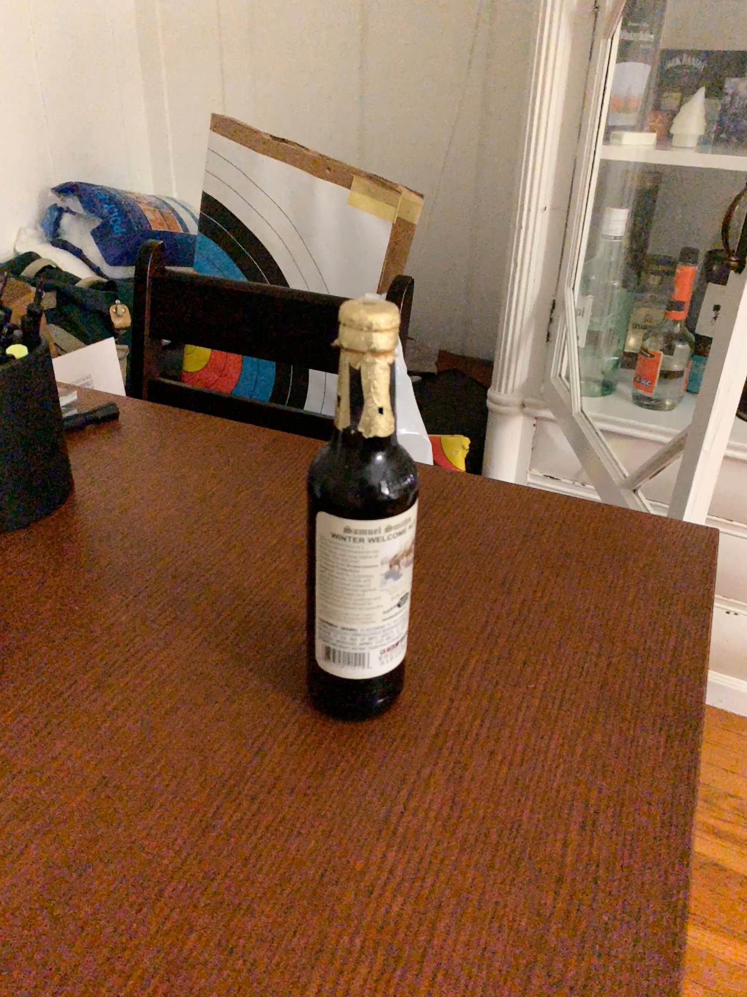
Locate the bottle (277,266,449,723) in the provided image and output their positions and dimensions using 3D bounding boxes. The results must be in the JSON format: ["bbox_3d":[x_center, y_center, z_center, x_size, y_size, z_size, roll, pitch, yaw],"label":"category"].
[{"bbox_3d":[-0.007,0.005,0.396,0.070,0.229,0.070,1,29,-1],"label":"bottle"}]
